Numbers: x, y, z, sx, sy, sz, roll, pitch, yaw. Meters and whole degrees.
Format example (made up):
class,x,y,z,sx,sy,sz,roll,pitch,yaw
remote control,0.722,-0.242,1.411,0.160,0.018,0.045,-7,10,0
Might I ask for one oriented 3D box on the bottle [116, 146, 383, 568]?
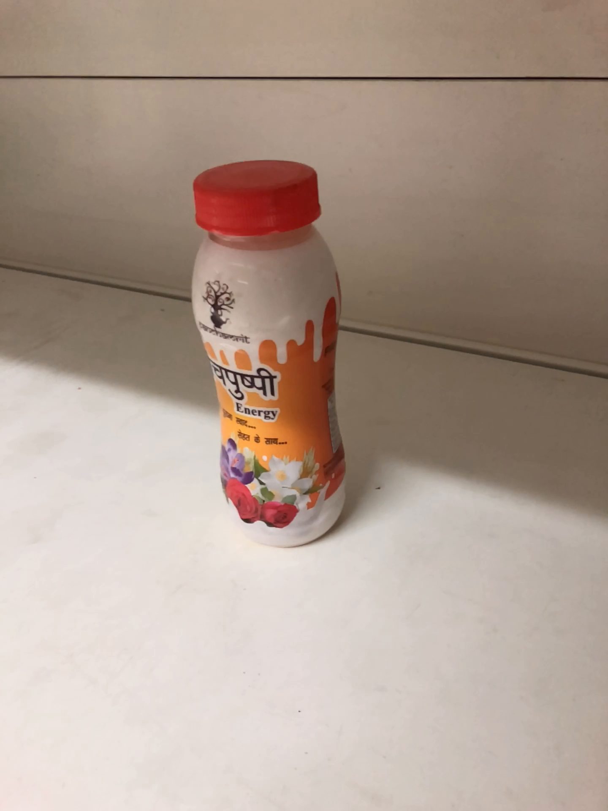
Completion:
class,x,y,z,sx,sy,sz,roll,pitch,yaw
bottle,-0.012,-0.019,0.244,0.060,0.129,0.060,-3,29,2
